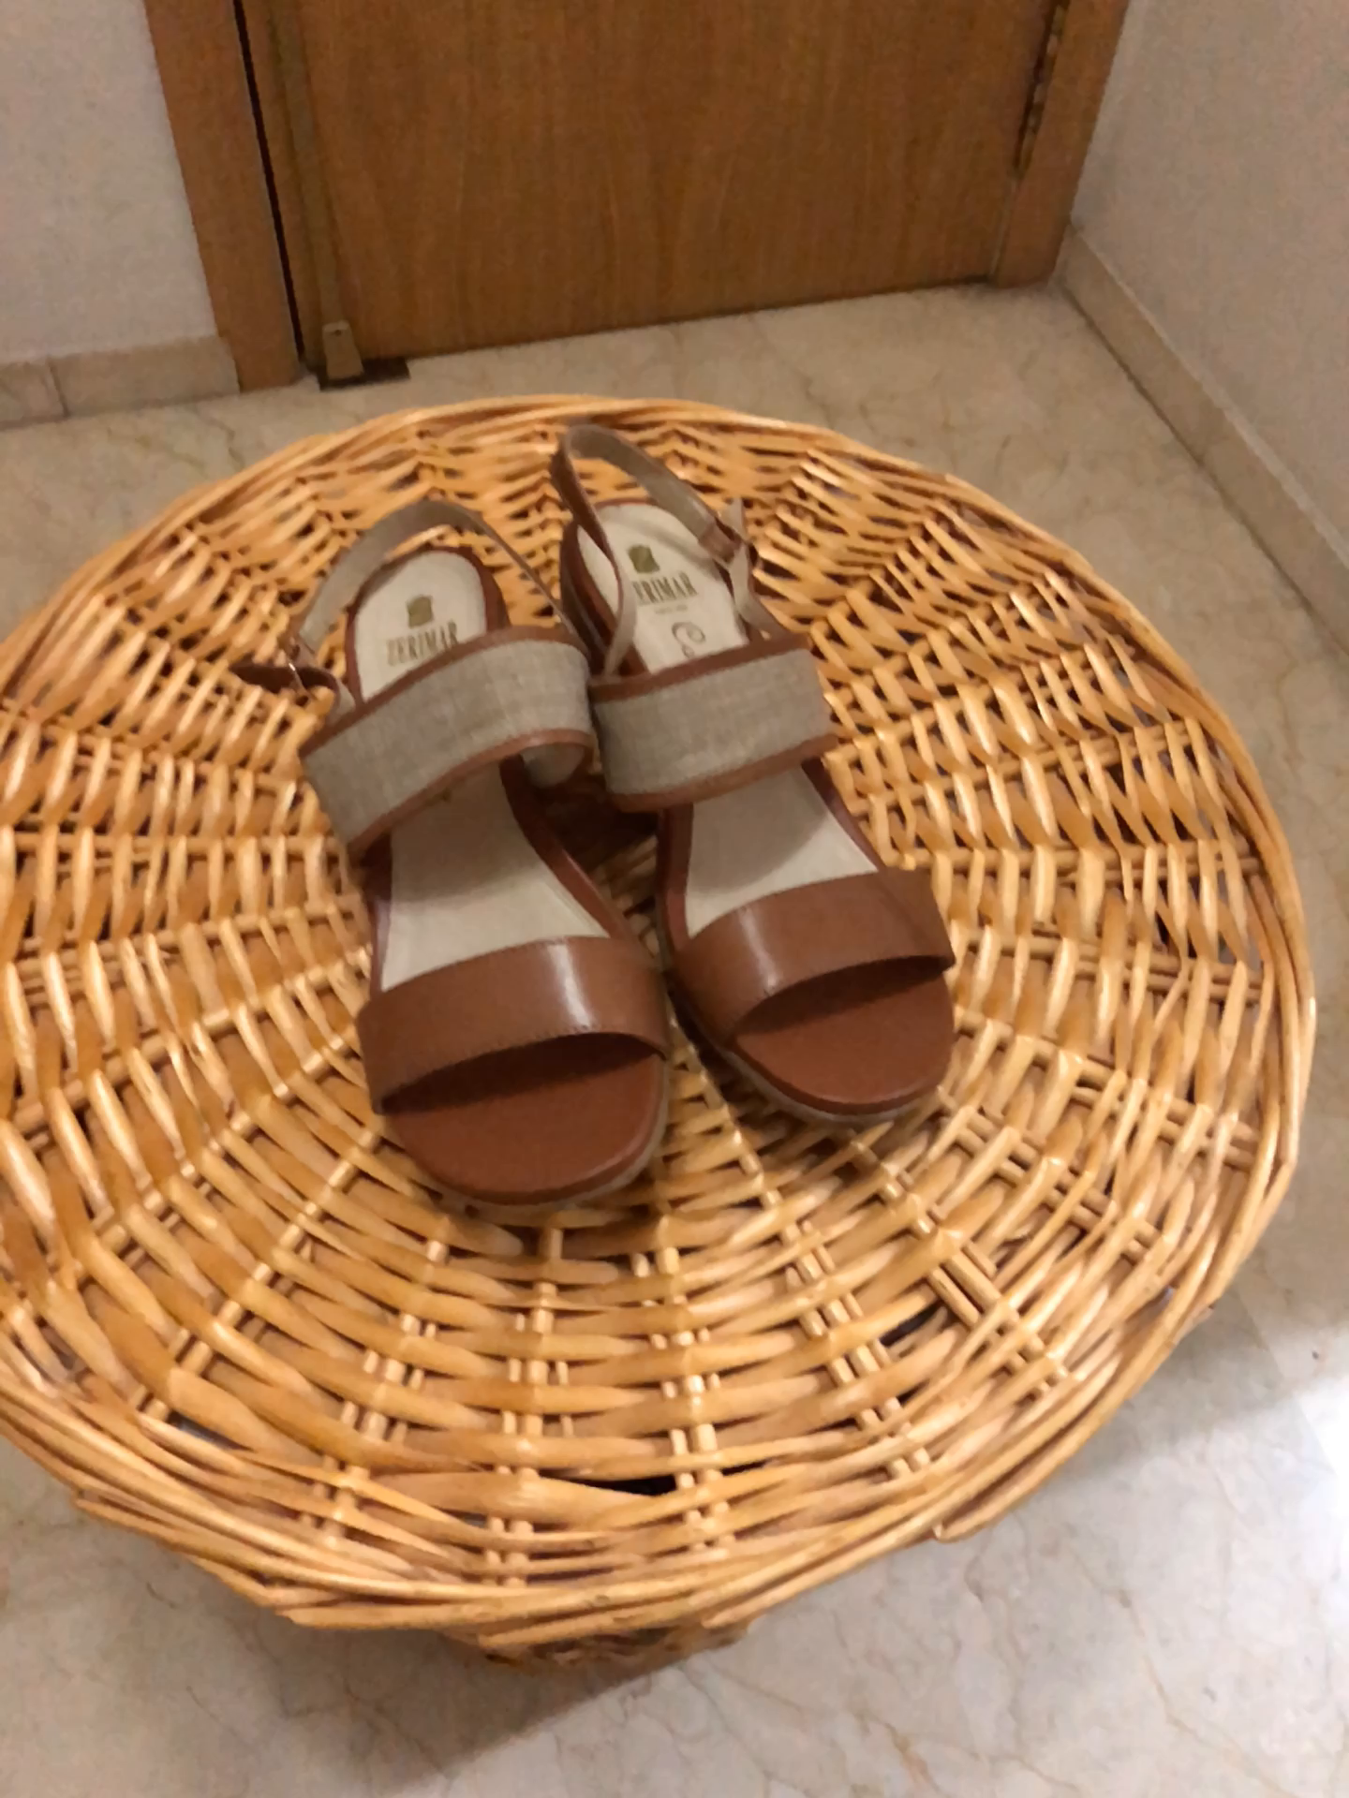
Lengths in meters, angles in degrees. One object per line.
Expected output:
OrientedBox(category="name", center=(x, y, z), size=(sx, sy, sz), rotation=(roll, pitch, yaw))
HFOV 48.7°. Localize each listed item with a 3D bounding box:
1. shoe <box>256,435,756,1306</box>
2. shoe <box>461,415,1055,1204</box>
OrientedBox(category="shoe", center=(-0.062, -0.022, 0.481), size=(0.100, 0.070, 0.271), rotation=(-18, 56, 2))
OrientedBox(category="shoe", center=(0.014, -0.043, 0.527), size=(0.090, 0.090, 0.271), rotation=(-18, 58, -16))
